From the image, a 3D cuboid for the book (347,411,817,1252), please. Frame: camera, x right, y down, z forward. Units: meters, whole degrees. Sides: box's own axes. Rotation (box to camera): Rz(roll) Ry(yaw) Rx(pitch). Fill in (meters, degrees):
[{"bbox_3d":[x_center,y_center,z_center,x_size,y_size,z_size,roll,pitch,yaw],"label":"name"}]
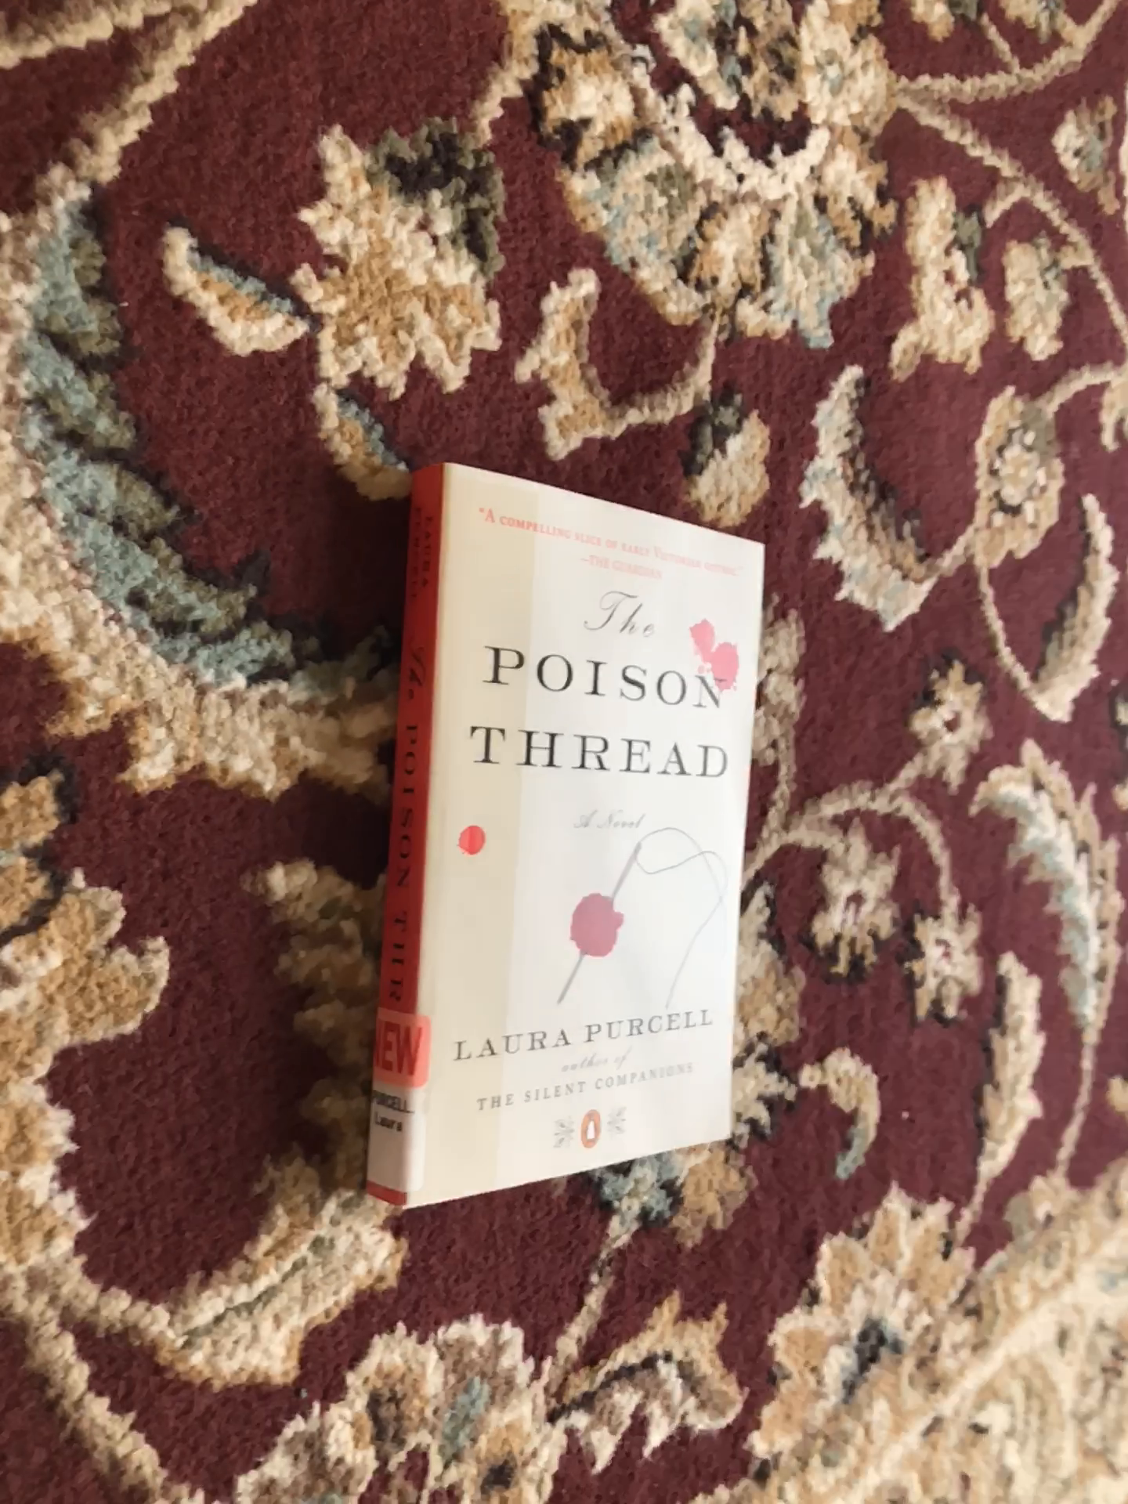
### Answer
[{"bbox_3d":[0.012,0.022,0.356,0.141,0.030,0.200,3,89,-42],"label":"book"}]
